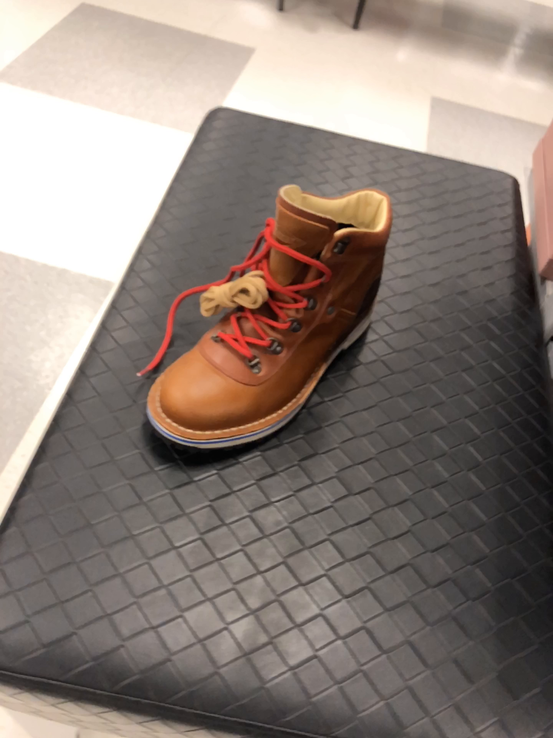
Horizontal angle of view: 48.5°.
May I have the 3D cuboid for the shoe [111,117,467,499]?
[{"bbox_3d":[0.015,-0.065,0.540,0.122,0.180,0.299,36,53,18],"label":"shoe"}]
